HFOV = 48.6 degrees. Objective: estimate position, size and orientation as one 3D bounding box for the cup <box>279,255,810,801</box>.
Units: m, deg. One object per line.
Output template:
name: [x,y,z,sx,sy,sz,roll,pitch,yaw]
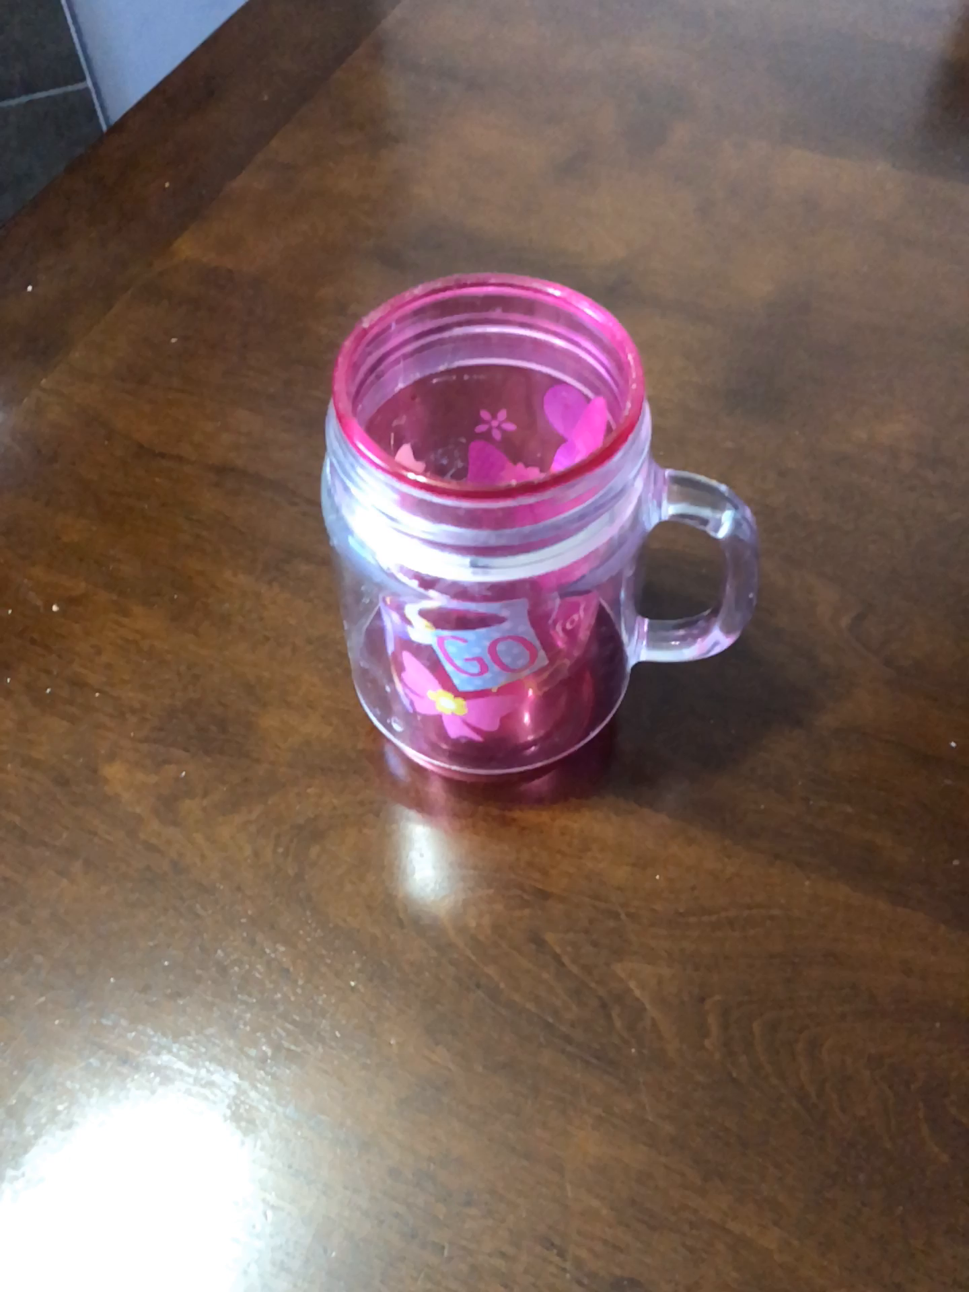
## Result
cup: [0.016,-0.026,0.331,0.120,0.160,0.080,2,56,3]
